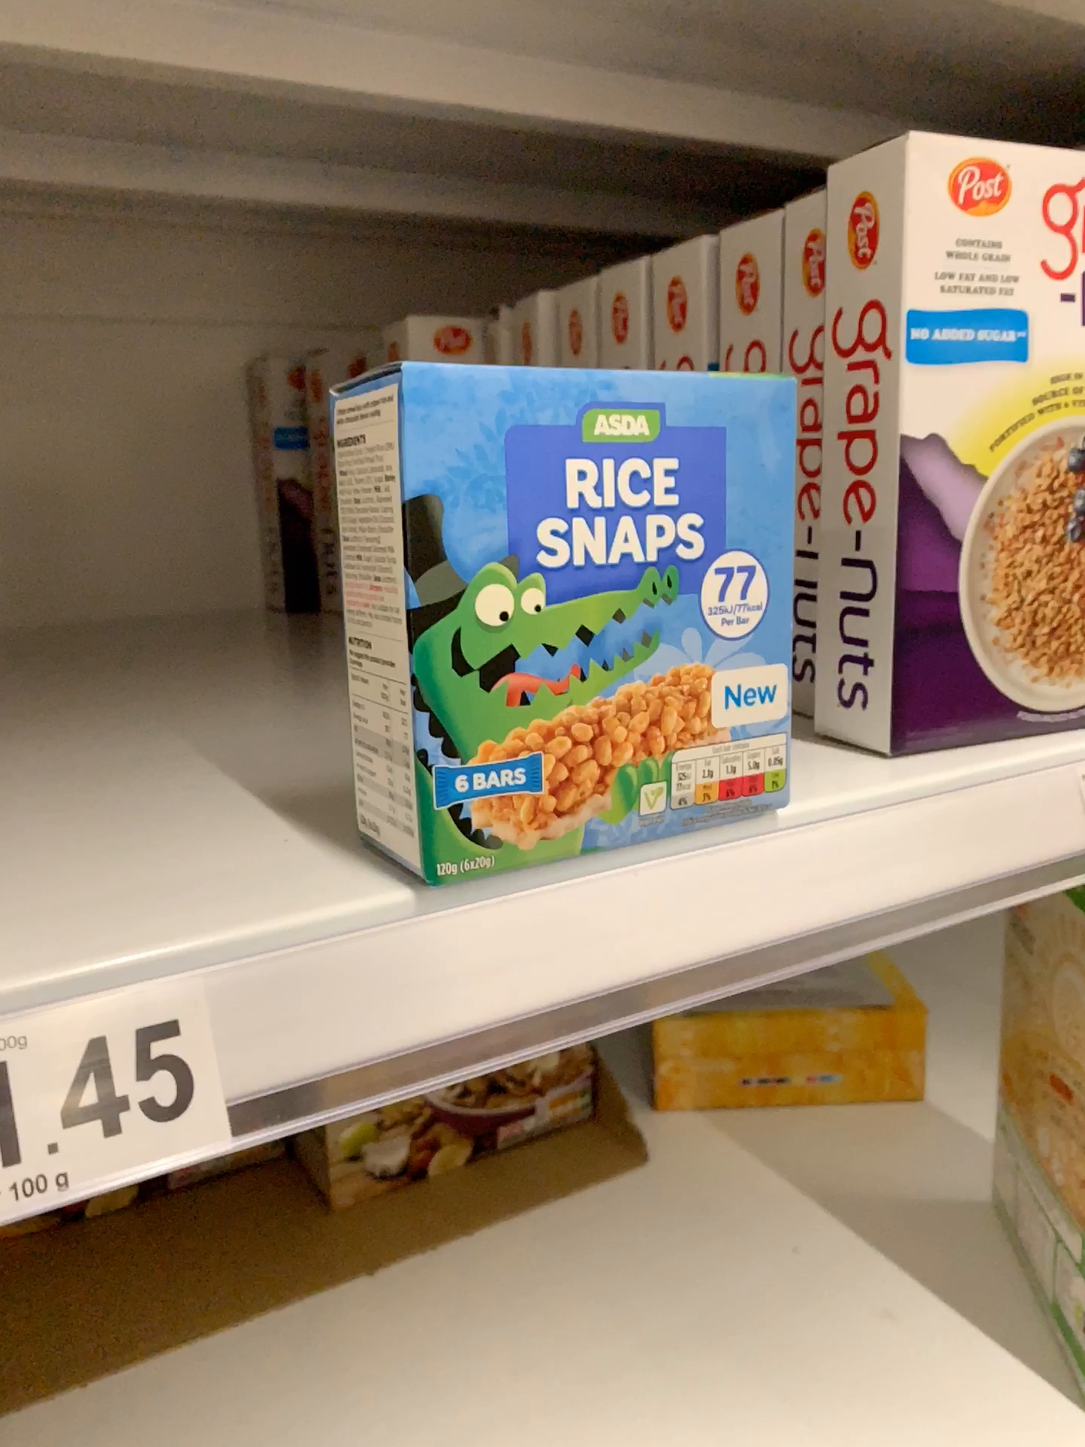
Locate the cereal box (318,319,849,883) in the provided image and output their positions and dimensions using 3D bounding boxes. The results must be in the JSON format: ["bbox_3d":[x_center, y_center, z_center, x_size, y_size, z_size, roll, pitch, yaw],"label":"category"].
[{"bbox_3d":[0.016,-0.038,0.317,0.140,0.129,0.050,-7,12,-31],"label":"cereal box"}]
